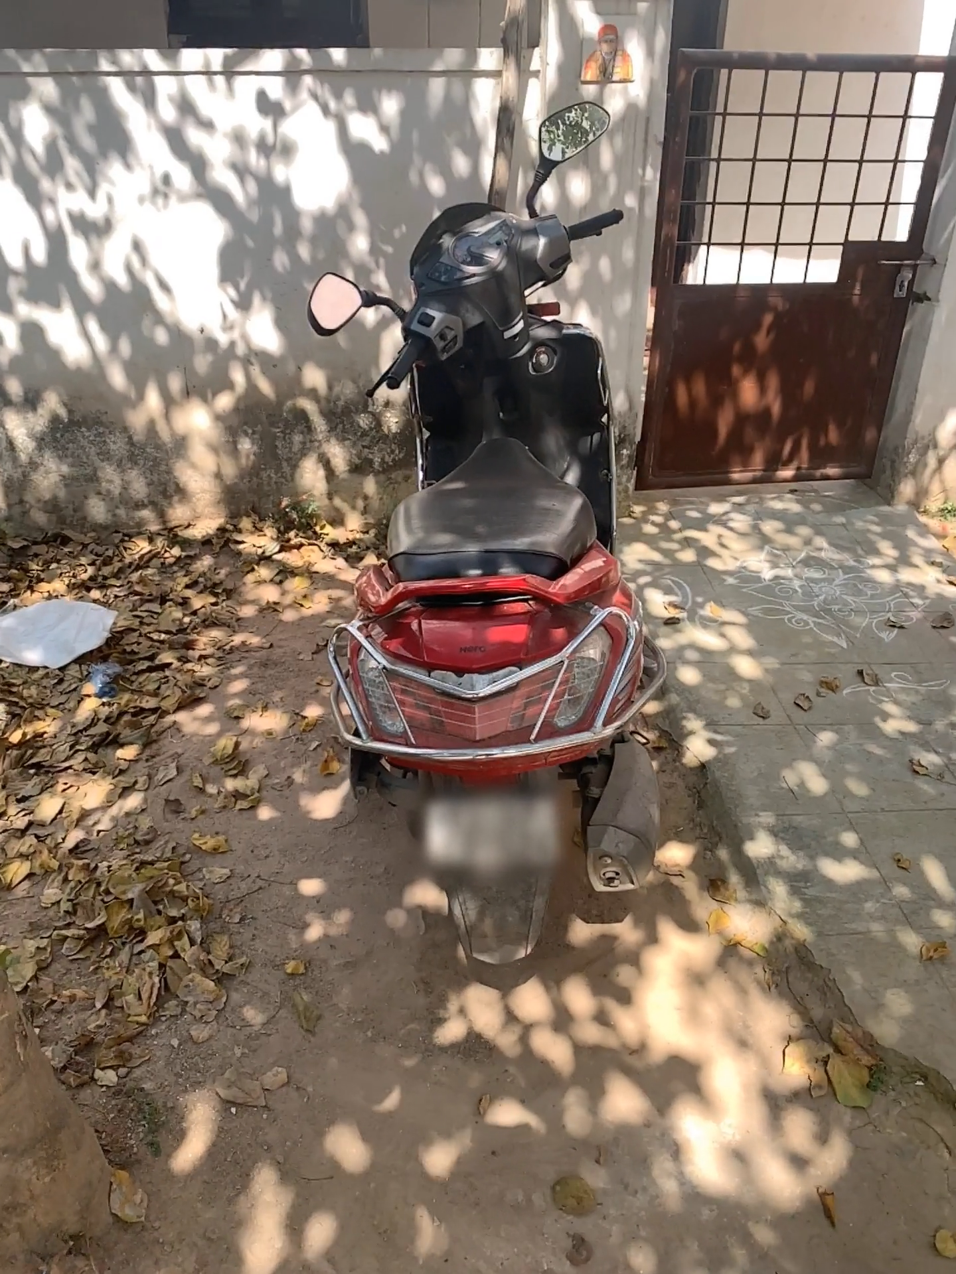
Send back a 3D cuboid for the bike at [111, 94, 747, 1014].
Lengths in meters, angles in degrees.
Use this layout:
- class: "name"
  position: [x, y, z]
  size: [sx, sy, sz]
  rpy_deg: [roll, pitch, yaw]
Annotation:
- class: "bike"
  position: [-0.168, -0.380, 2.118]
  size: [0.735, 1.155, 1.769]
  rpy_deg: [-3, 35, -5]
